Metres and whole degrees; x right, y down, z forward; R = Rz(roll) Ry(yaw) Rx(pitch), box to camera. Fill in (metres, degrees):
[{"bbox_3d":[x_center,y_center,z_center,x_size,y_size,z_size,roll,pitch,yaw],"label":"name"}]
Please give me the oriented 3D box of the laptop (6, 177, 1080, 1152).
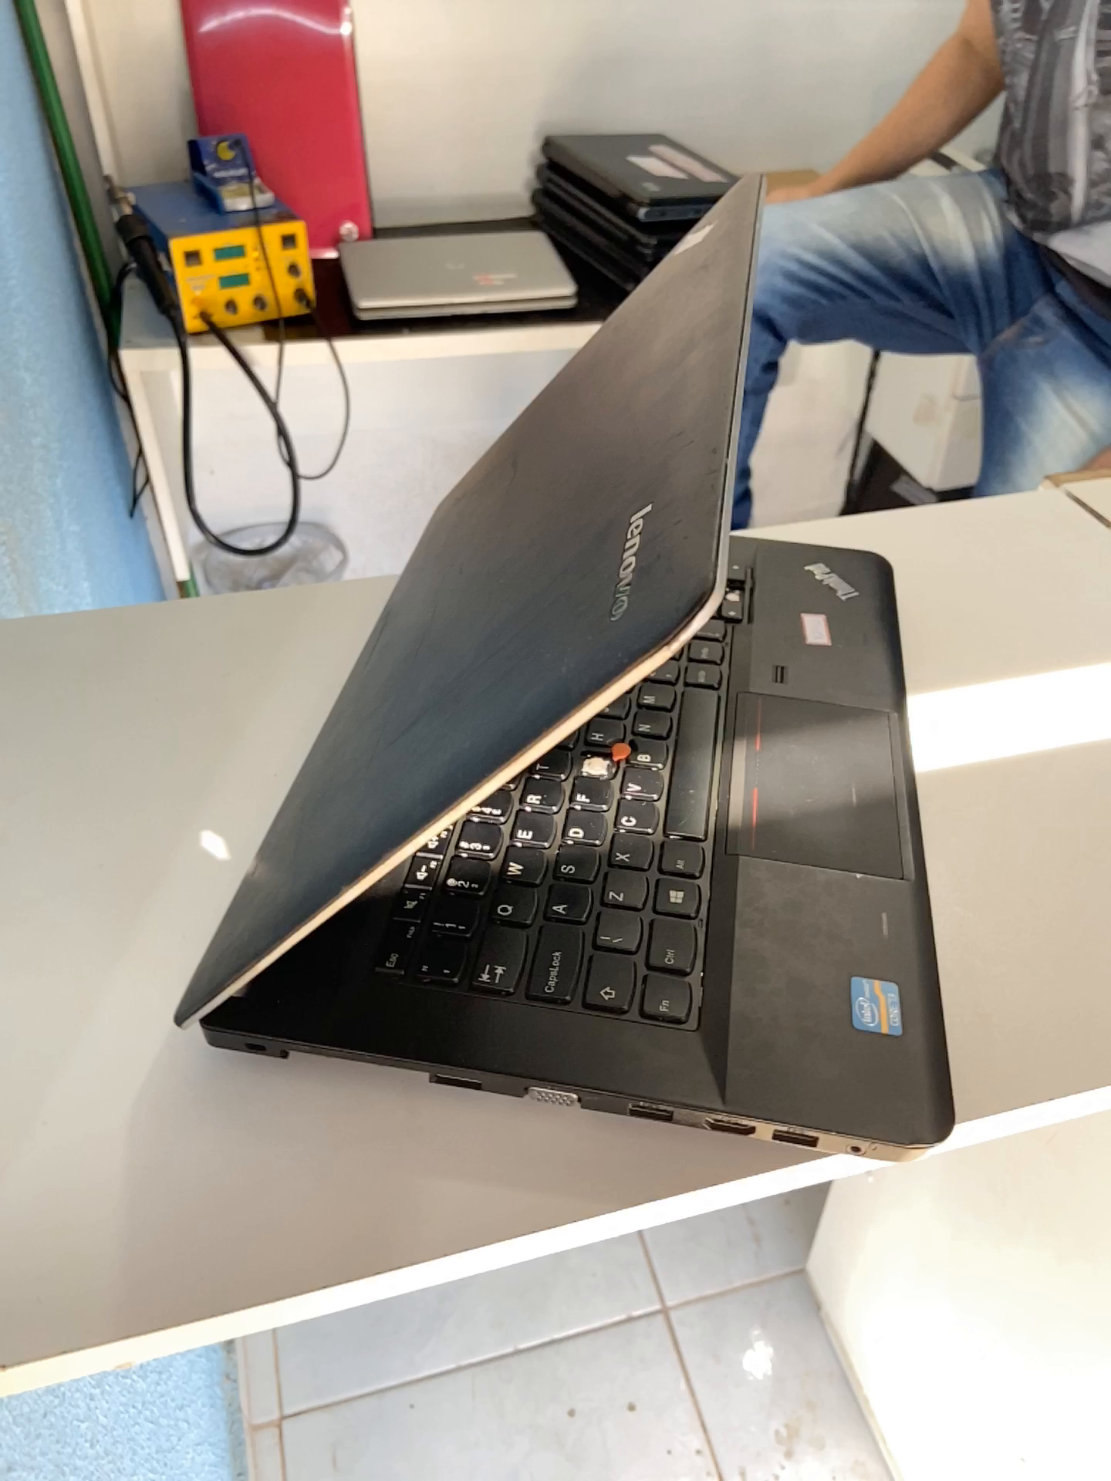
[{"bbox_3d":[0.019,-0.065,0.419,0.230,0.165,0.332,7,40,7],"label":"laptop"}]
